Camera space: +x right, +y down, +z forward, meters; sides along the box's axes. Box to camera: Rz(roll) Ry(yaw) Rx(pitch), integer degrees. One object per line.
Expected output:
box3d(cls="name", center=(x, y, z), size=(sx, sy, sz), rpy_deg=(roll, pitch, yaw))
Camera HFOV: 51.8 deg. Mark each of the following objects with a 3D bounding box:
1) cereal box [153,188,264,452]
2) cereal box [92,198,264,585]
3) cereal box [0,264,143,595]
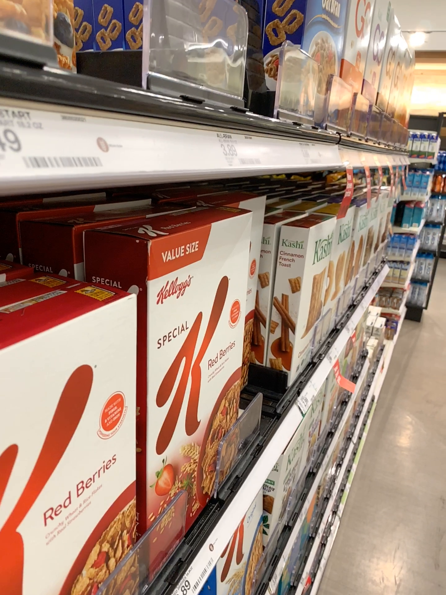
box3d(cls="cereal box", center=(-0.018, 0.019, 0.665), size=(0.060, 0.329, 0.201), rpy_deg=(12, 19, 21))
box3d(cls="cereal box", center=(-0.038, 0.073, 0.459), size=(0.060, 0.319, 0.201), rpy_deg=(12, 20, 22))
box3d(cls="cereal box", center=(-0.135, 0.144, 0.291), size=(0.060, 0.289, 0.201), rpy_deg=(12, 19, 21))
